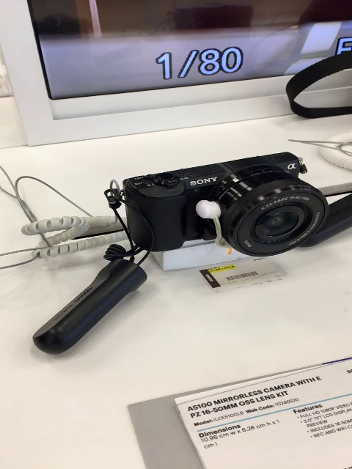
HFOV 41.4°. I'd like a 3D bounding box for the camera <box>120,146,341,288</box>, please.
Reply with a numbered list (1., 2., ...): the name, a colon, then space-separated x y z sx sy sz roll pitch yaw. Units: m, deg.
1. camera: 0.036 -0.014 0.318 0.124 0.064 0.049 -14 41 -16
